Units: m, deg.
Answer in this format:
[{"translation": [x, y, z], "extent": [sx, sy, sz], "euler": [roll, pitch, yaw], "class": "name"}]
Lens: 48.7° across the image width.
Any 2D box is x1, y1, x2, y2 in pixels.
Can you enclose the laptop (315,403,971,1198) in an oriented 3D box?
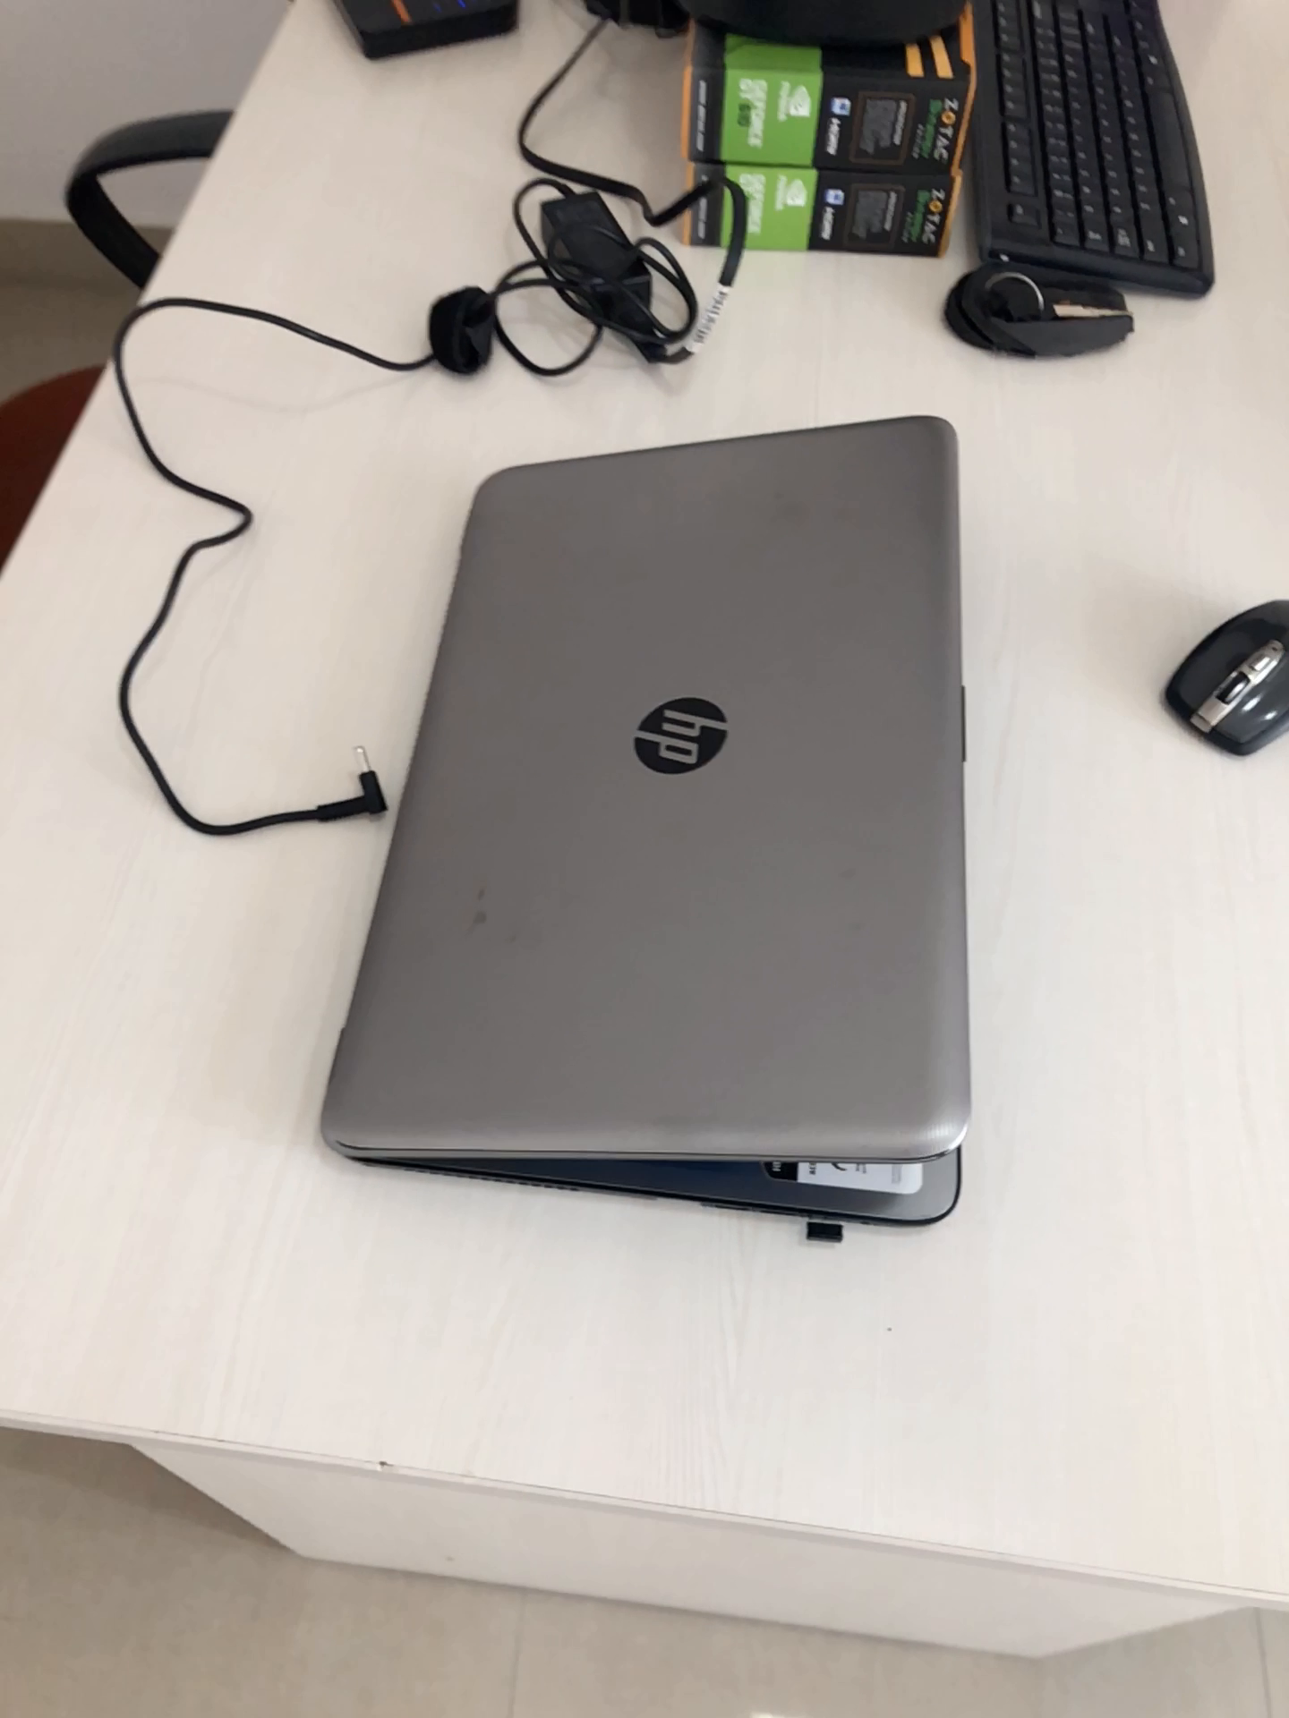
[{"translation": [0.019, -0.046, 0.610], "extent": [0.226, 0.062, 0.357], "euler": [5, 57, 3], "class": "laptop"}]
